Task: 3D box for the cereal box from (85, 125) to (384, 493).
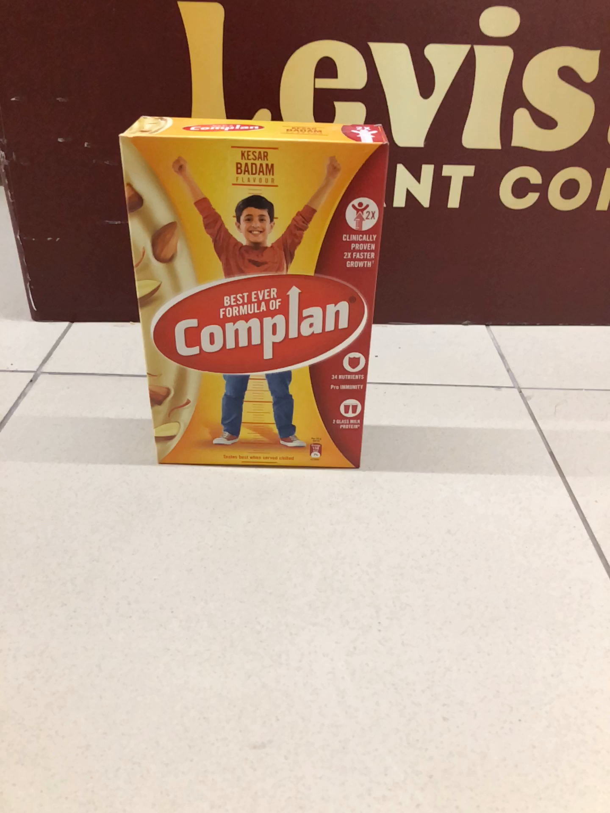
[{"bbox_3d":[-0.038,-0.052,0.421,0.150,0.219,0.060,1,32,-1],"label":"cereal box"}]
